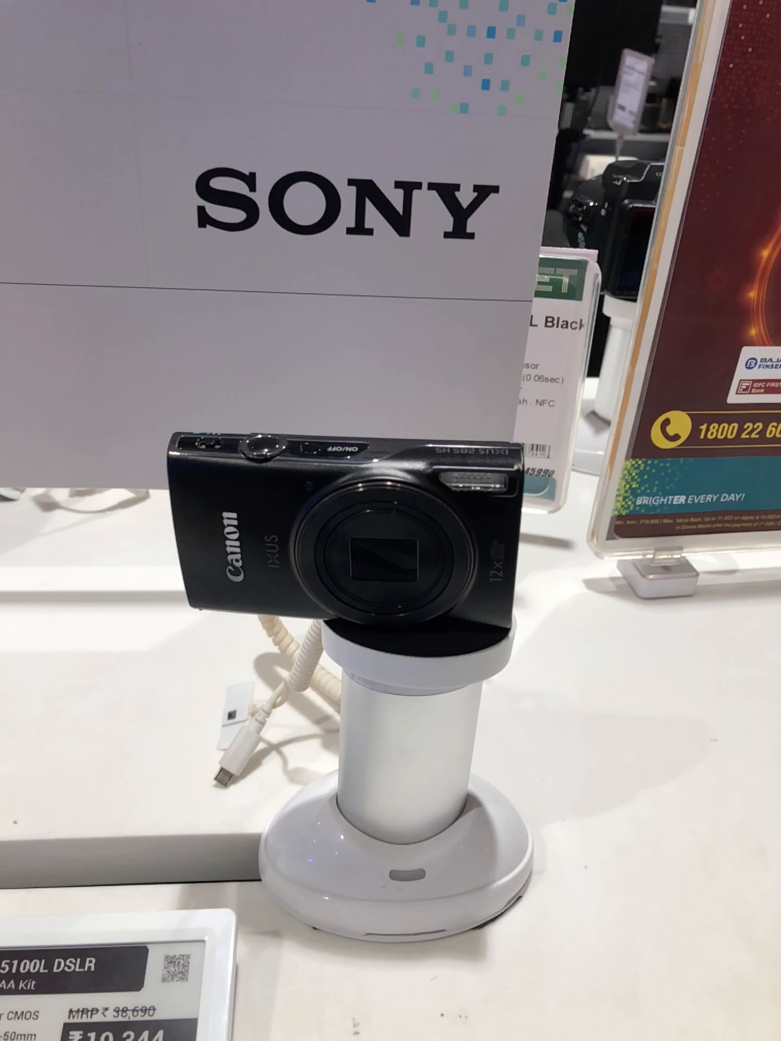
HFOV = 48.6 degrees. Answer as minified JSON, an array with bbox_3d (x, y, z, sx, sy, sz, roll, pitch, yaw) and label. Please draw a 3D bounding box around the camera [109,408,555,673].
[{"bbox_3d":[-0.016,0.006,0.242,0.110,0.060,0.030,4,32,0],"label":"camera"}]
